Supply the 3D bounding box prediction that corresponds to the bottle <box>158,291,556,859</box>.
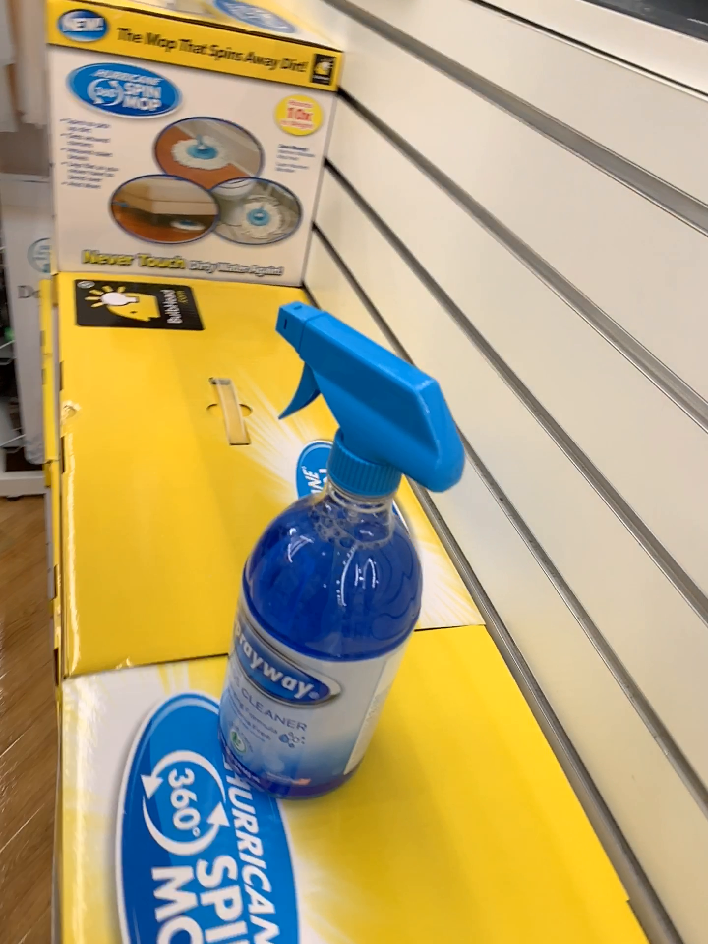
[{"bbox_3d":[-0.019,0.054,0.343,0.090,0.239,0.110,-19,48,-37],"label":"bottle"}]
